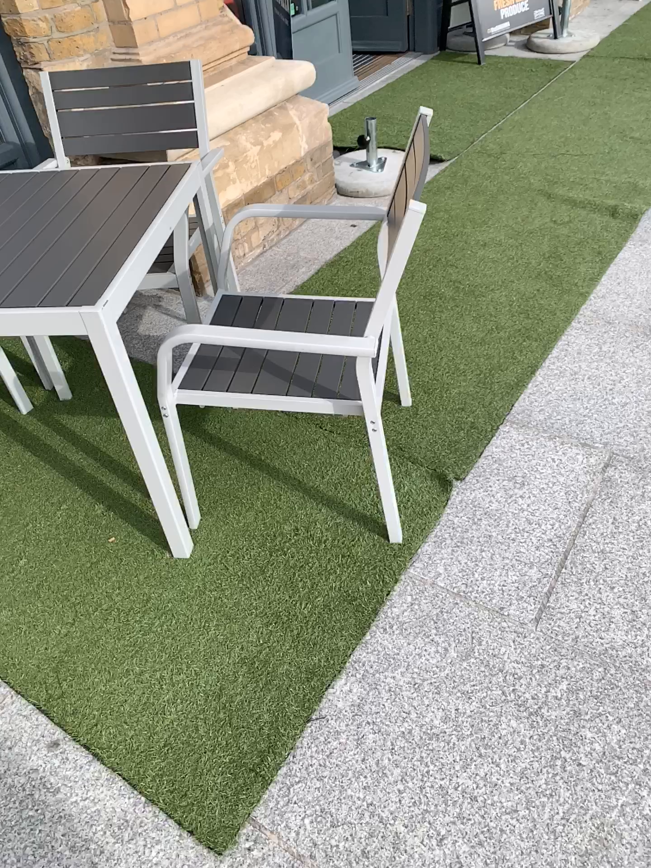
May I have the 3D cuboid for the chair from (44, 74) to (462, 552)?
[{"bbox_3d":[-0.054,-0.258,1.516,0.646,0.801,0.688,-2,42,7],"label":"chair"}]
